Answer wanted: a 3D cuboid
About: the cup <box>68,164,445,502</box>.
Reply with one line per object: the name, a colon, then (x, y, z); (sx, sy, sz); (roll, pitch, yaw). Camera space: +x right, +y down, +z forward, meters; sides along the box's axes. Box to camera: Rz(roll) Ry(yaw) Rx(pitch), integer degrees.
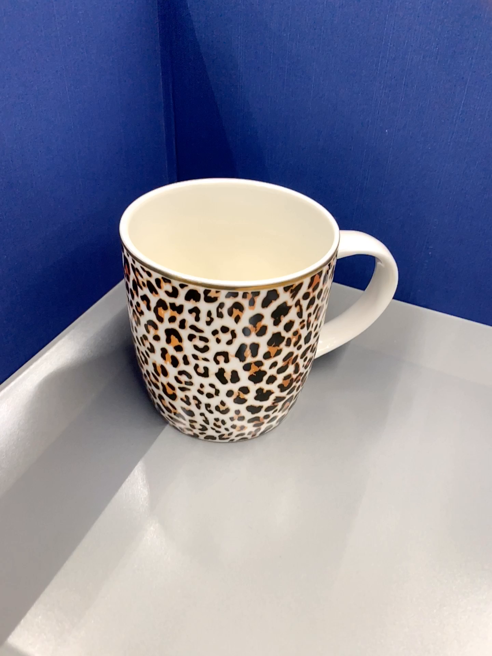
cup: (-0.005, -0.006, 0.234); (0.126, 0.095, 0.099); (-9, 39, -15)
